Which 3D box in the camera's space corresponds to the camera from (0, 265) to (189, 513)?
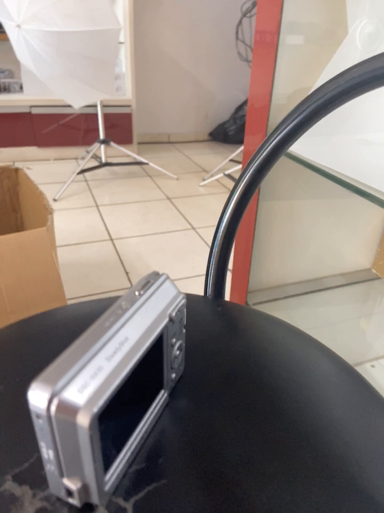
[{"bbox_3d":[-0.035,0.052,0.173,0.035,0.057,0.083,14,31,19],"label":"camera"}]
